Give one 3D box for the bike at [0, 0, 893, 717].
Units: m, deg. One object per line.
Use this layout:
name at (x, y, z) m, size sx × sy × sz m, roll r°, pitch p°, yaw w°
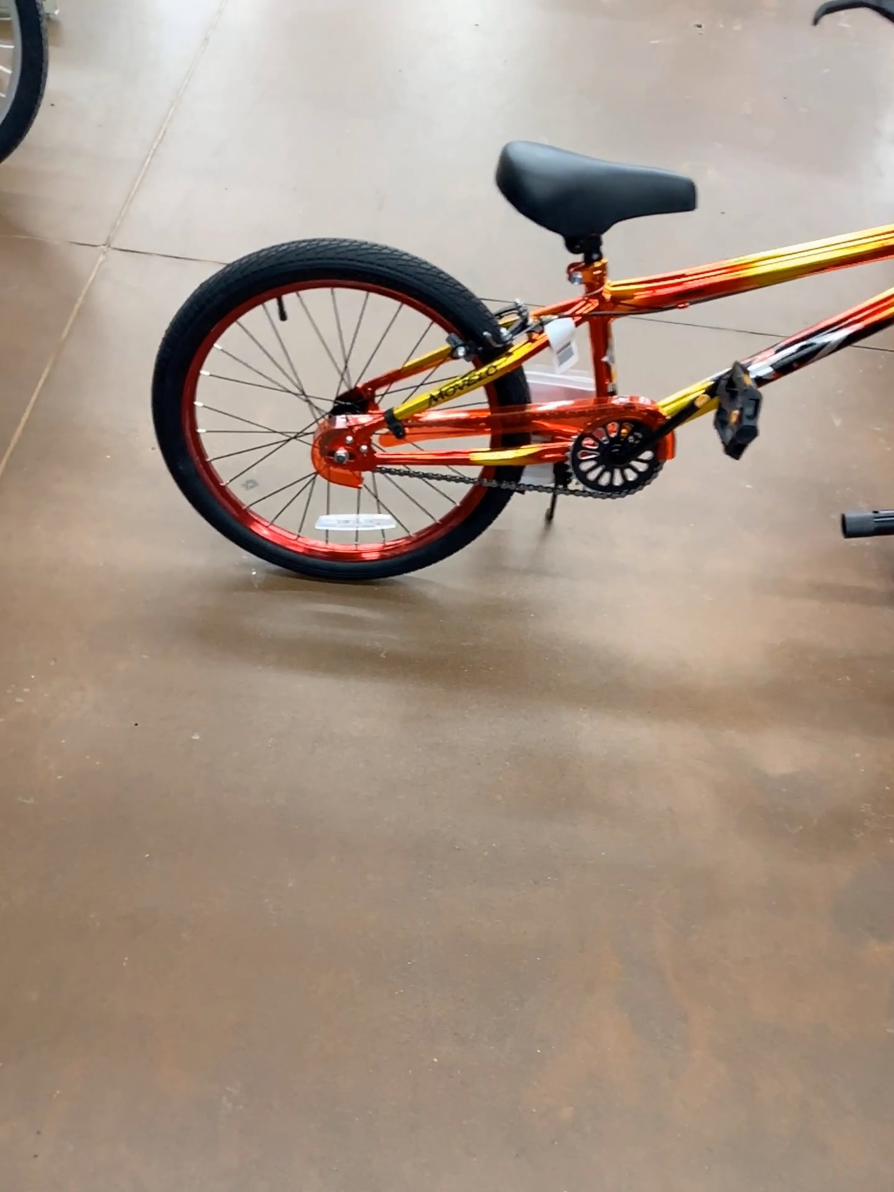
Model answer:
bike at (0.232, -0.472, 1.091) m, size 1.123 × 0.926 × 0.706 m, roll -3°, pitch 52°, yaw -10°
